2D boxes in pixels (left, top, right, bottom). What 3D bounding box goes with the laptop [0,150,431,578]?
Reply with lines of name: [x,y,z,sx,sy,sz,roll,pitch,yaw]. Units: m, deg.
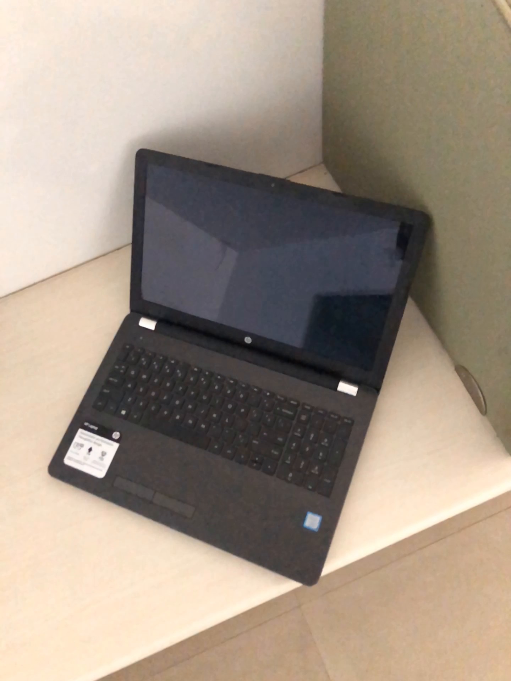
laptop: [-0.037,0.012,0.680,0.366,0.168,0.394,17,69,16]
